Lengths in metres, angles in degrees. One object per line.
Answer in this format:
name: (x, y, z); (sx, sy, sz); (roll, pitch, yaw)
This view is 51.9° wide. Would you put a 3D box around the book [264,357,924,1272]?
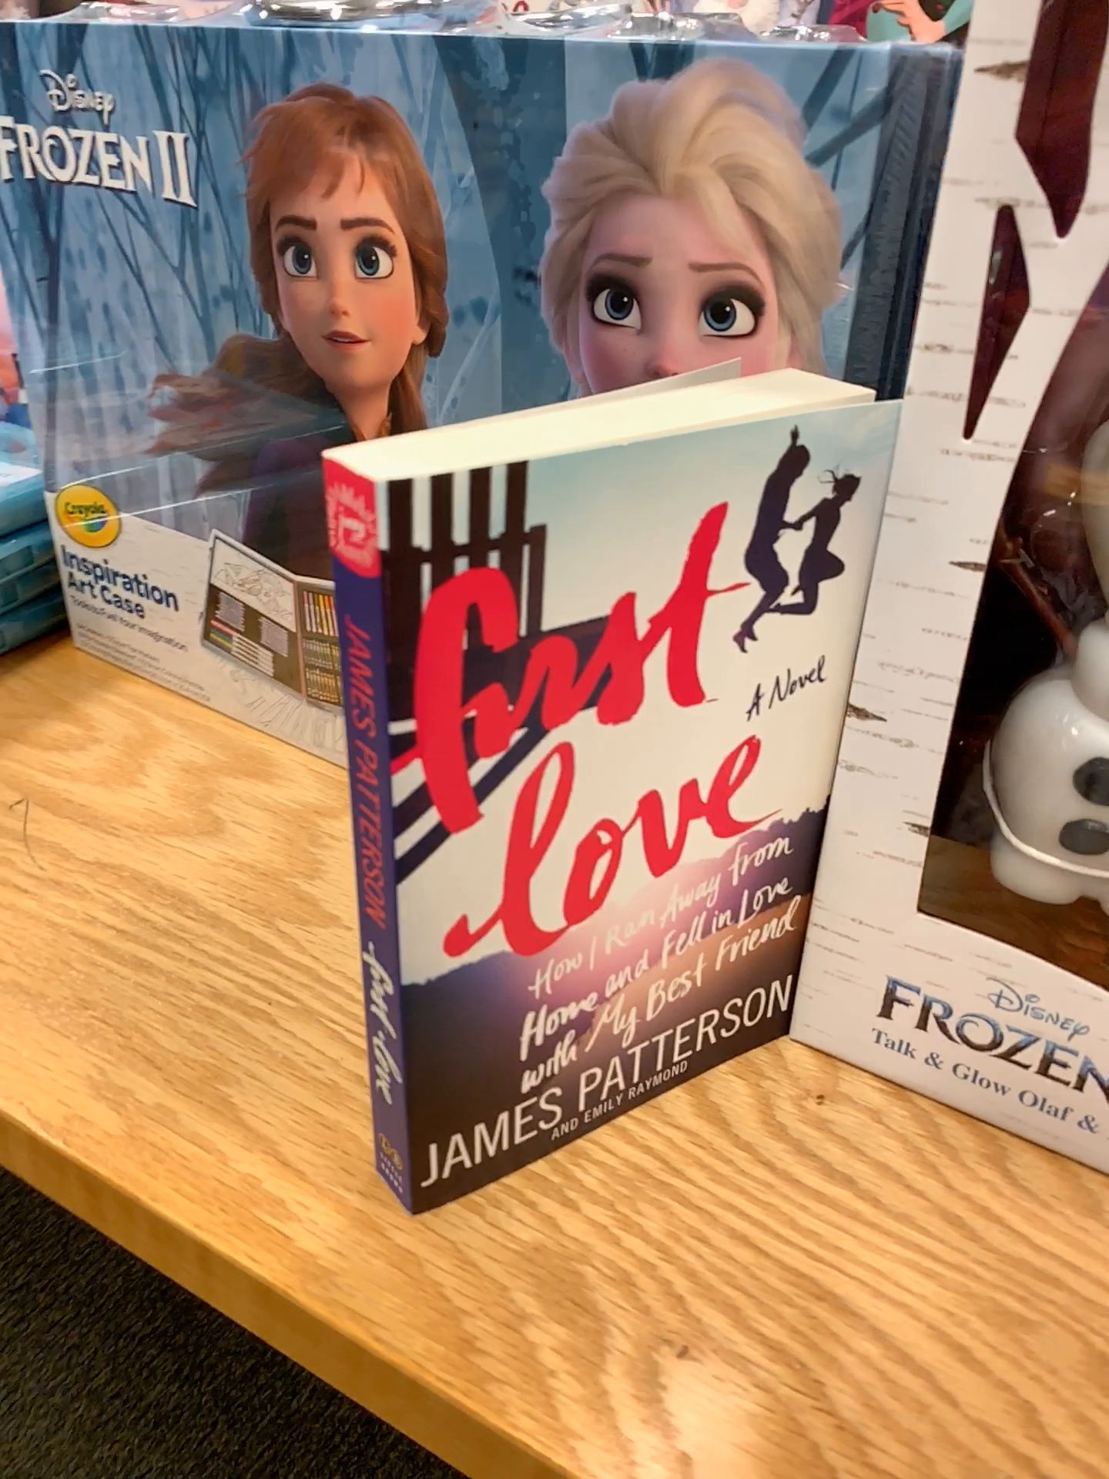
book: (0.013, 0.016, 0.304); (0.142, 0.205, 0.059); (-18, 33, -31)
